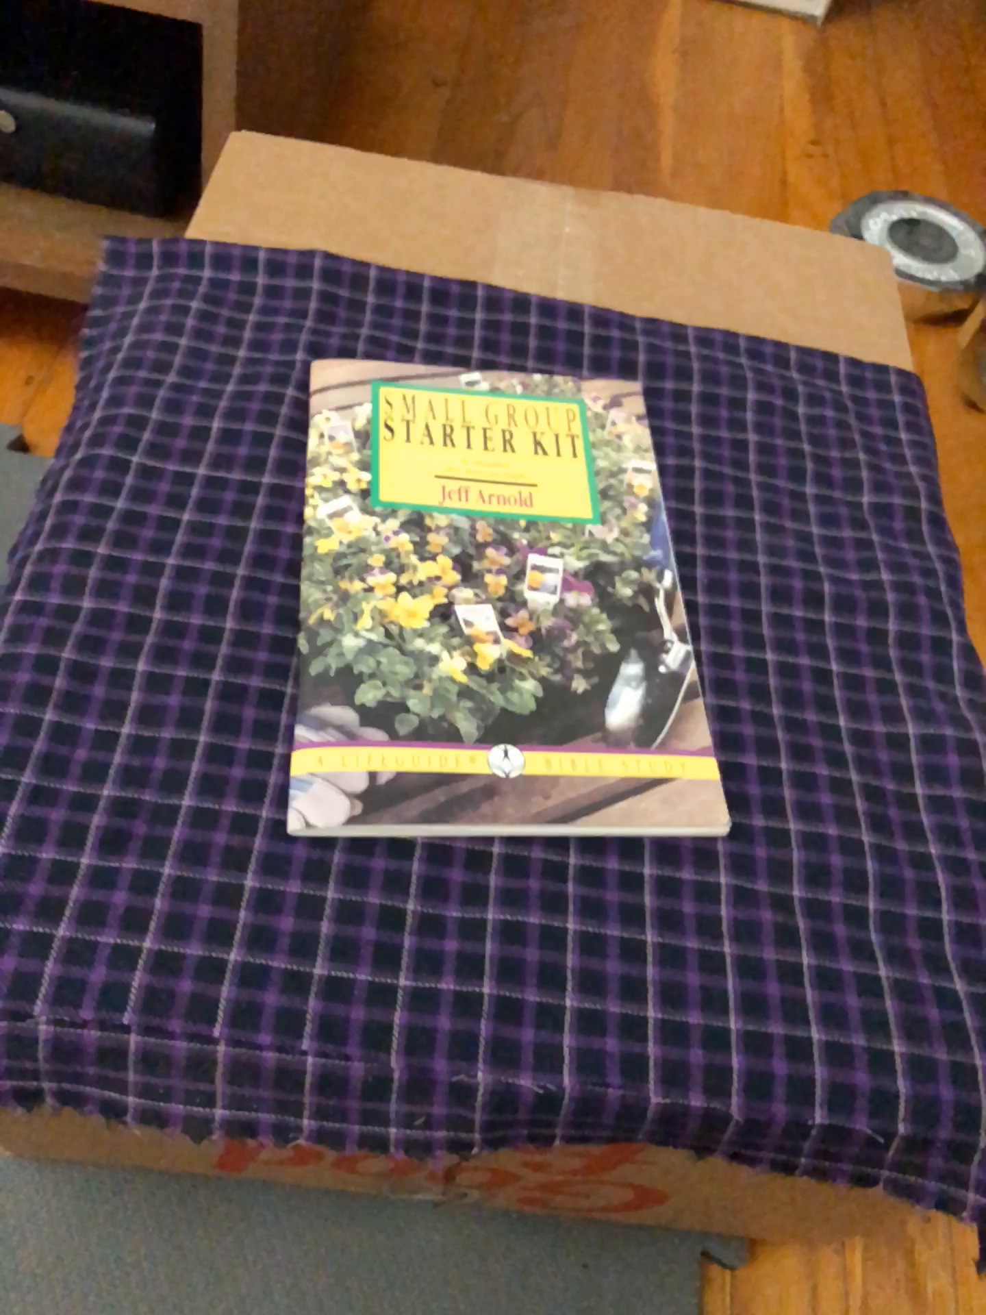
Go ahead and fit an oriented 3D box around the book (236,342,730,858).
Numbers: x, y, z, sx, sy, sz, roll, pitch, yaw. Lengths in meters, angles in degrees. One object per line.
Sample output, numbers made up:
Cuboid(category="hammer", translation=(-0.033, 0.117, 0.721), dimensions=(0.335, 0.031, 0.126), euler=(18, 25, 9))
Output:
Cuboid(category="book", translation=(-0.008, -0.032, 0.395), dimensions=(0.150, 0.010, 0.221), euler=(2, 55, -8))
